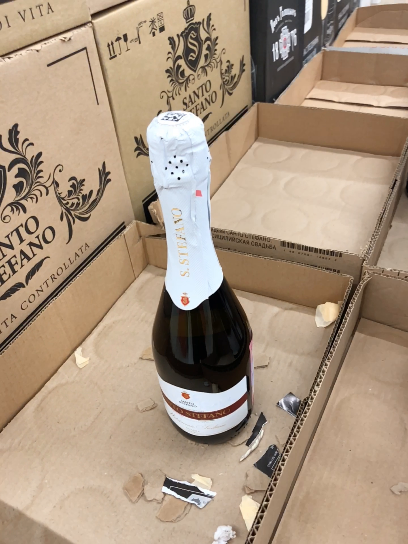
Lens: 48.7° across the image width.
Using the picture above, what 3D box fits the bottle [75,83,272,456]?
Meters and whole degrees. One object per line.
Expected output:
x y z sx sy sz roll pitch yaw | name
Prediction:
-0.001 0.021 0.368 0.090 0.308 0.090 -4 41 3 | bottle
